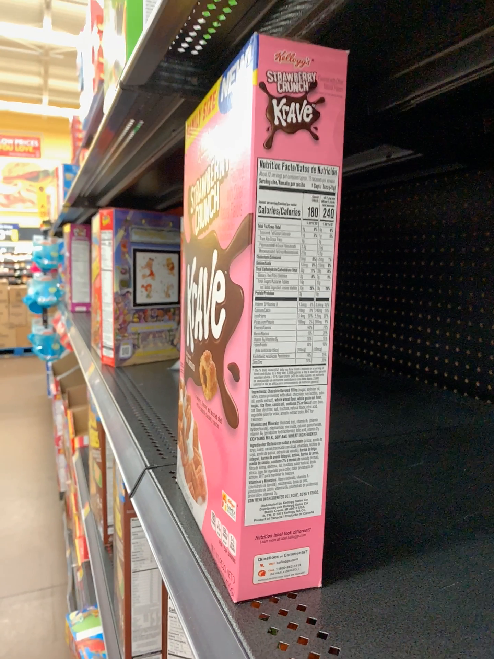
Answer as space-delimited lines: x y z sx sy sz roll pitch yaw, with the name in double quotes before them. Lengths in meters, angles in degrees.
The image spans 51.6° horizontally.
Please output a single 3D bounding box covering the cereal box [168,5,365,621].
"cereal box" -0.005 -0.011 0.377 0.060 0.329 0.200 1 7 -19
